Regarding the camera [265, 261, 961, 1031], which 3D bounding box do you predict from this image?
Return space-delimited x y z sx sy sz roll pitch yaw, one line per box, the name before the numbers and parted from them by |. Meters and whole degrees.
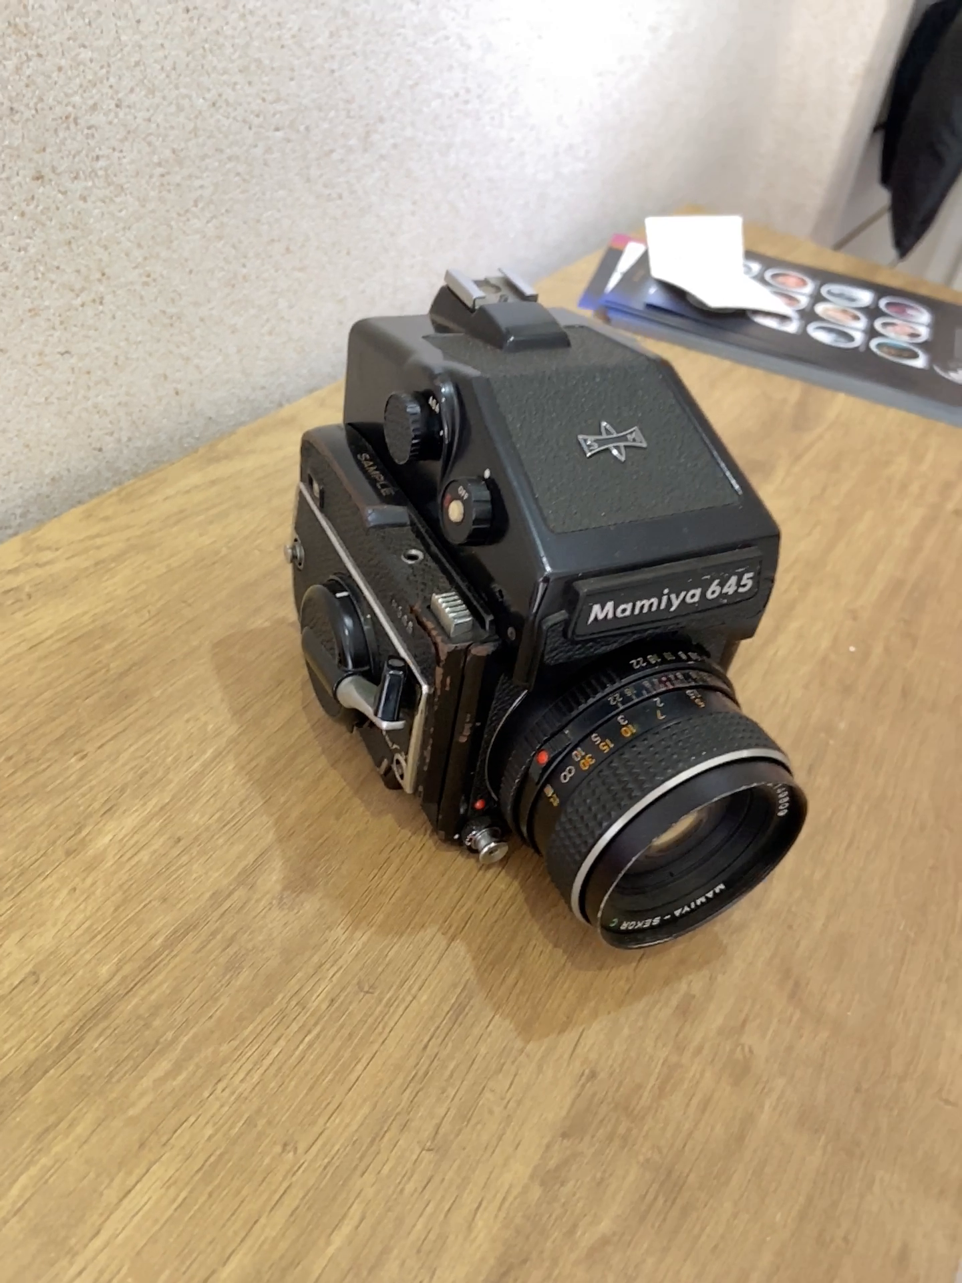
camera | 0.028 -0.016 0.271 0.130 0.109 0.161 -12 44 -24
